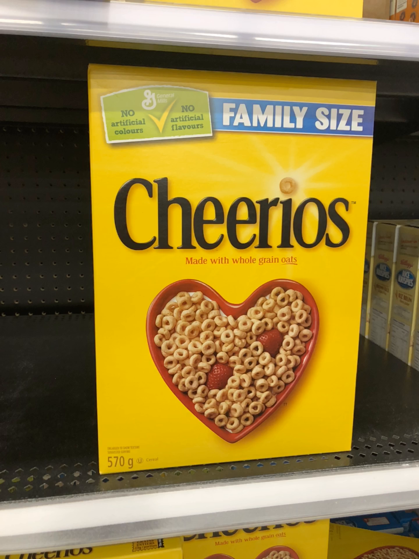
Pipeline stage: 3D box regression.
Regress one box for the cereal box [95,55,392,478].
[{"bbox_3d":[0.019,-0.007,0.433,0.240,0.339,0.090,0,11,-12],"label":"cereal box"}]
